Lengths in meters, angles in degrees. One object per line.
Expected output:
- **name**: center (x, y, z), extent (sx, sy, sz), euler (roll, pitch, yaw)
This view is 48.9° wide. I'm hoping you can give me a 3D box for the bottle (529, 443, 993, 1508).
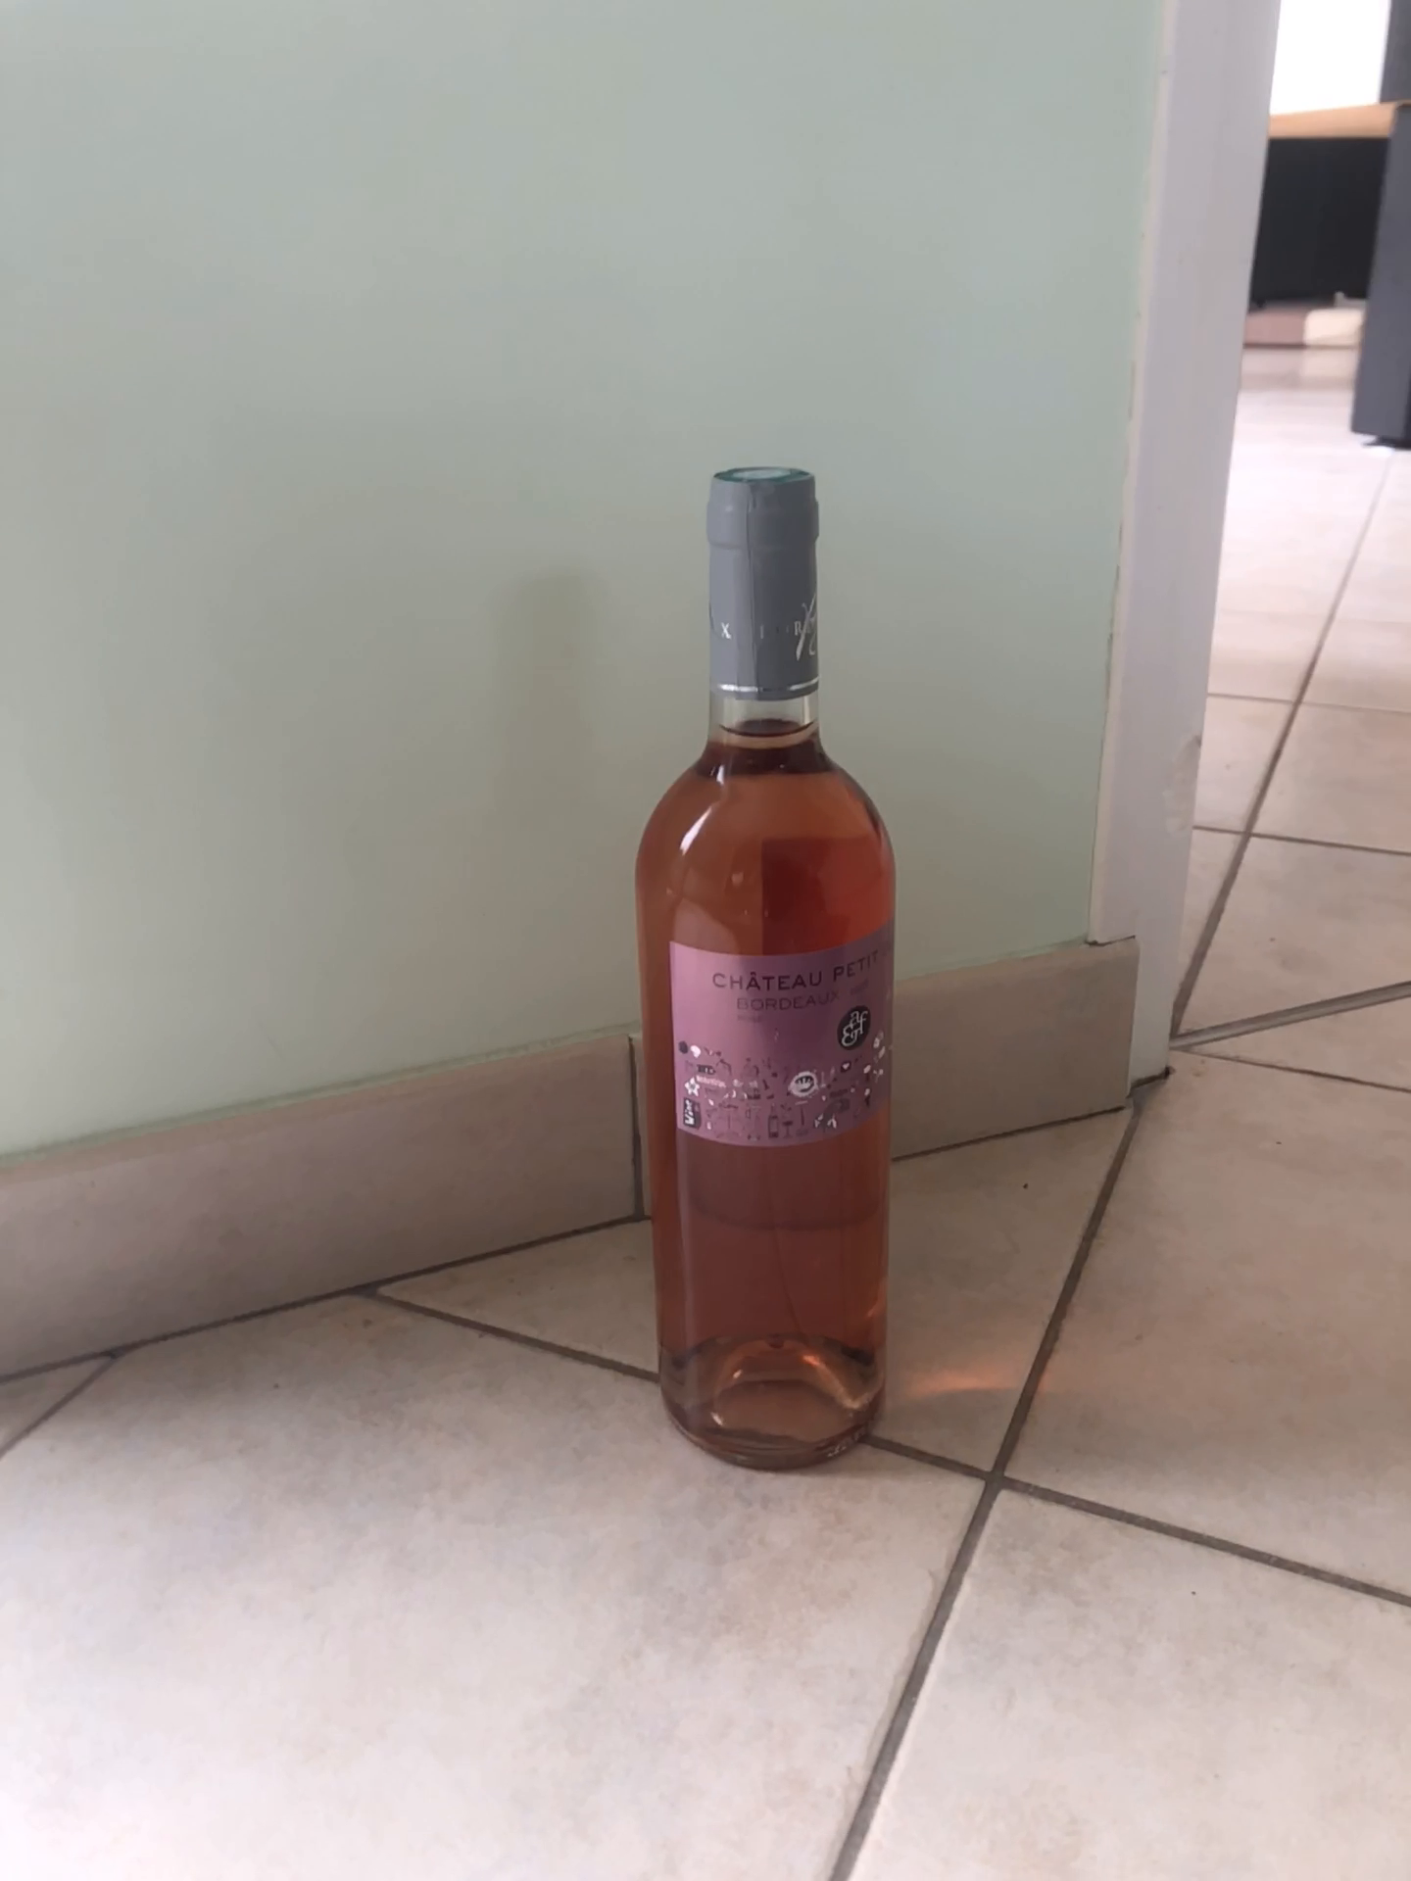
- **bottle**: center (0.020, 0.012, 0.455), extent (0.090, 0.288, 0.091), euler (-1, 24, 1)
